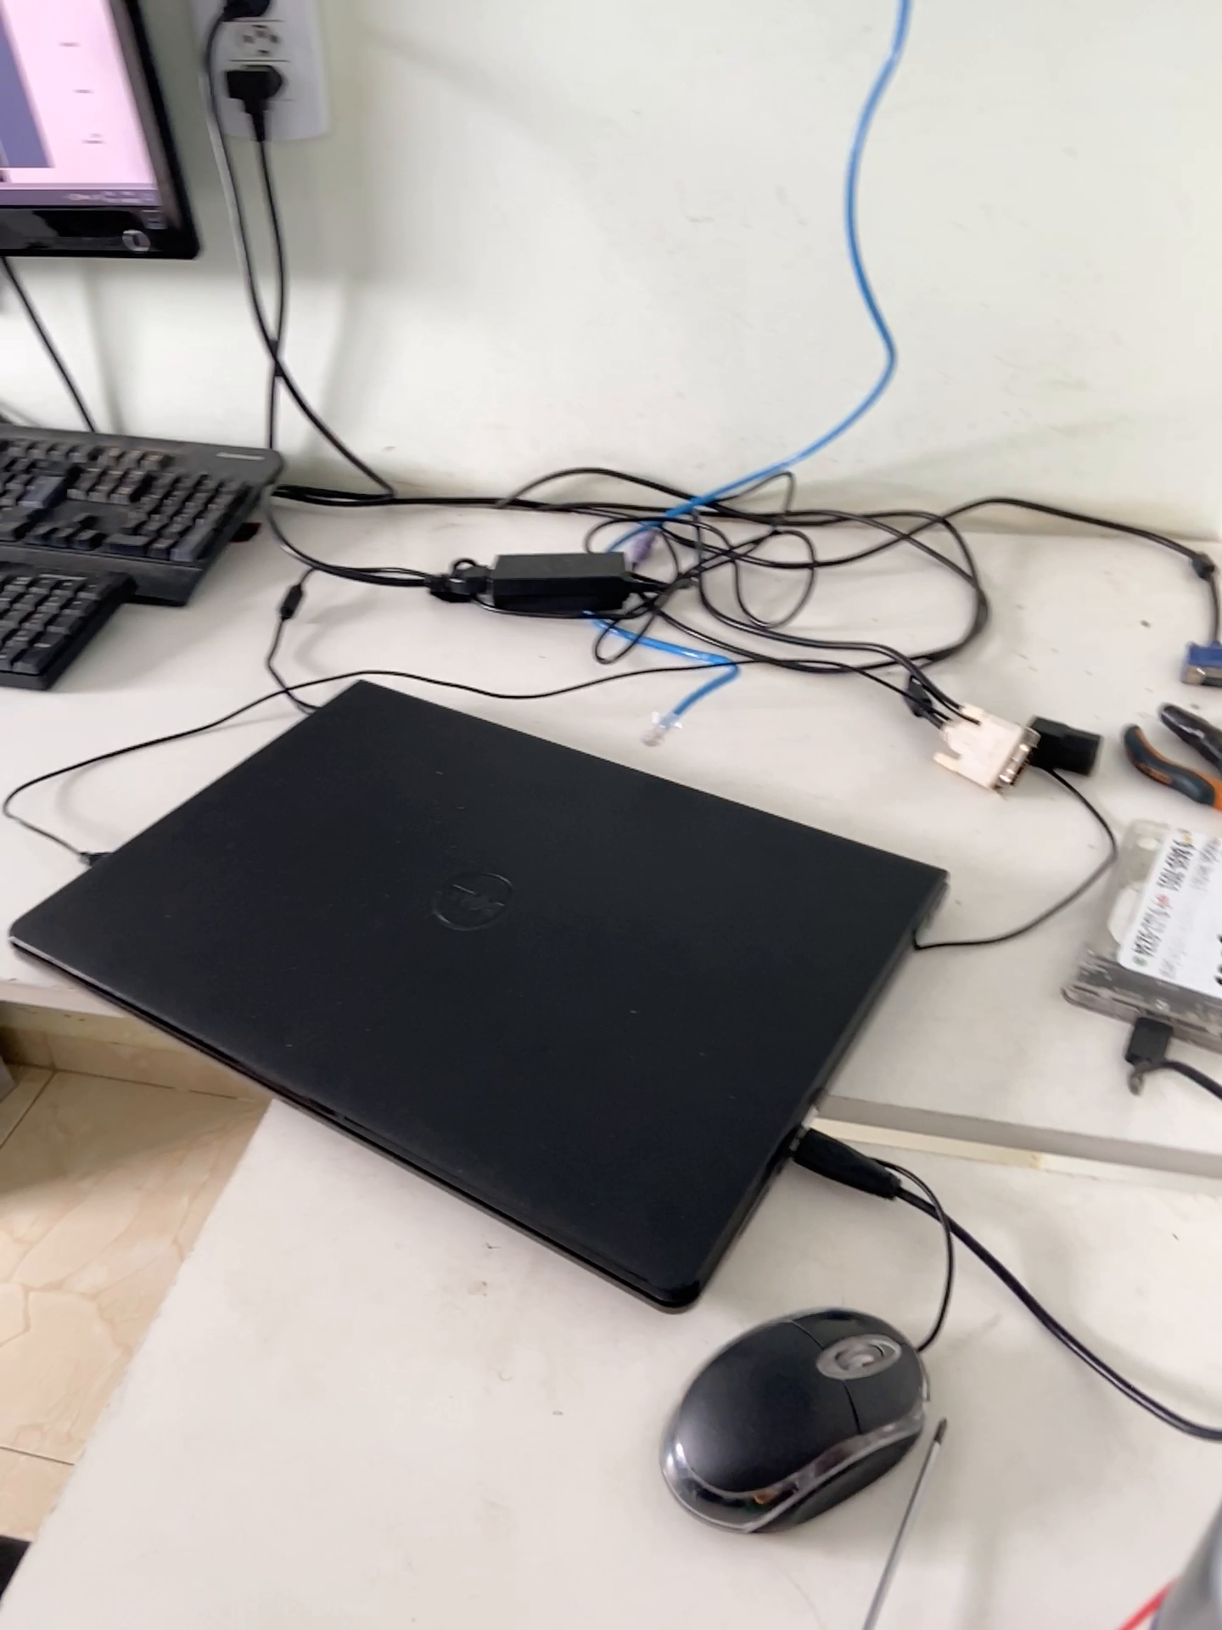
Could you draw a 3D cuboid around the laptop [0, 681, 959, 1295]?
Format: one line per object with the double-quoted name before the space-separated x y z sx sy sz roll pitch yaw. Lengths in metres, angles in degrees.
"laptop" -0.062 0.042 0.603 0.376 0.003 0.261 19 42 26
